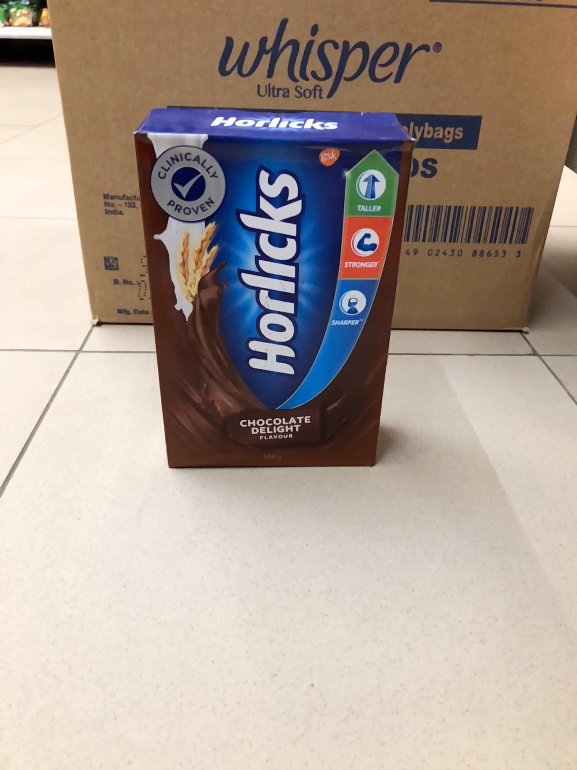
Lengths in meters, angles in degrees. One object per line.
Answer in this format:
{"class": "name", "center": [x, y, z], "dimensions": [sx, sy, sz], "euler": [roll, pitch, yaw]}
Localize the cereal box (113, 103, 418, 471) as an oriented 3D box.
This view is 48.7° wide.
{"class": "cereal box", "center": [-0.013, -0.049, 0.368], "dimensions": [0.140, 0.199, 0.060], "euler": [0, 29, -2]}
